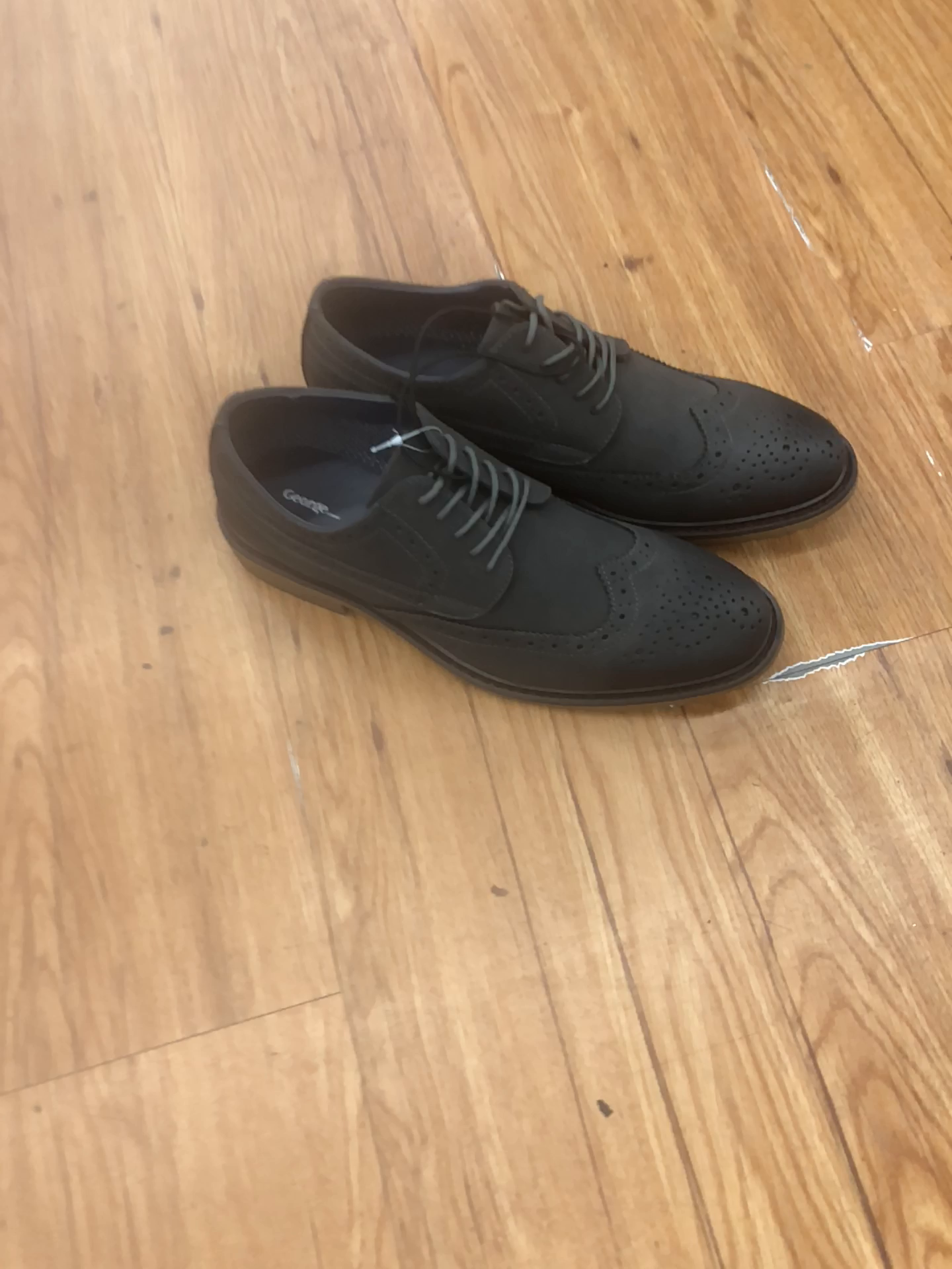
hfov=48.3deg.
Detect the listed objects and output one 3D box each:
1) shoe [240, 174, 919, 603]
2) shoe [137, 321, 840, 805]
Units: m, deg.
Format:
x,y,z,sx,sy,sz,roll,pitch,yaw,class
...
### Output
x,y,z,sx,sy,sz,roll,pitch,yaw,class
0.048,-0.120,0.518,0.280,0.110,0.110,14,66,11,shoe
0.006,-0.034,0.502,0.280,0.110,0.110,19,67,13,shoe
